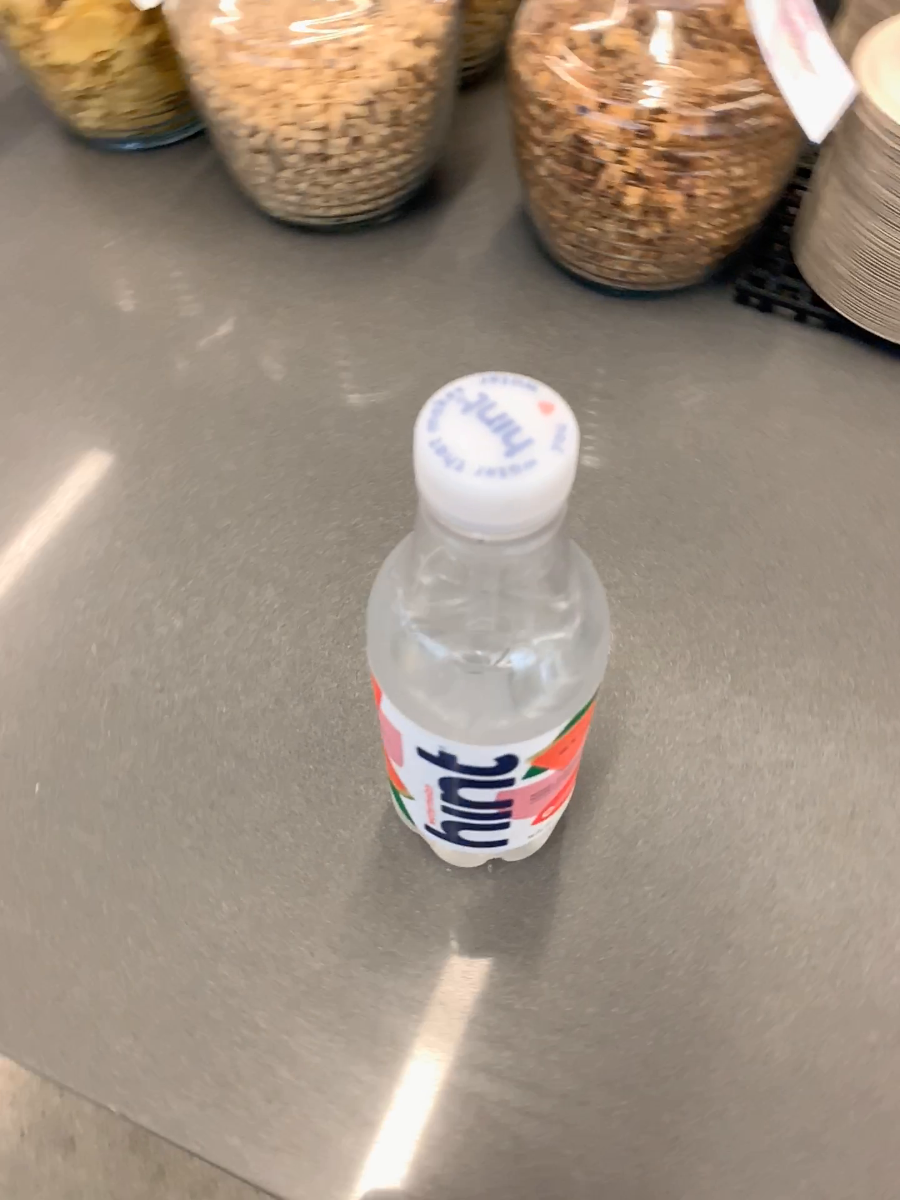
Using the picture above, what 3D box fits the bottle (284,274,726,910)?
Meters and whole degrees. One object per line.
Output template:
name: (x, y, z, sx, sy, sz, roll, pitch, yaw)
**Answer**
bottle: (0.015, 0.018, 0.267, 0.070, 0.199, 0.070, 0, 57, 0)
